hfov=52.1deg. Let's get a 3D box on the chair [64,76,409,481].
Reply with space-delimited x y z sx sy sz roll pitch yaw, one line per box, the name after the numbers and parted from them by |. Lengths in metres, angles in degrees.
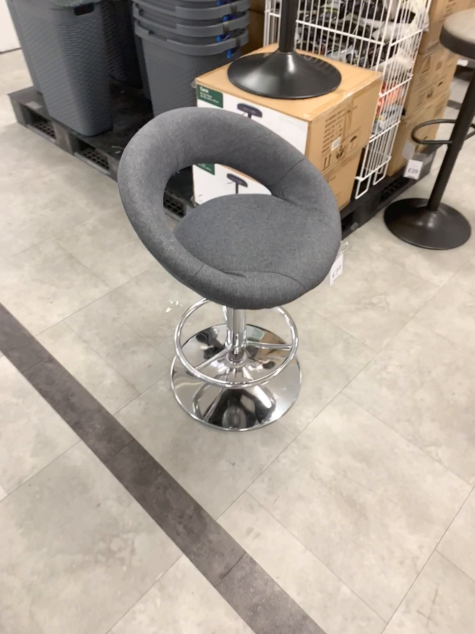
0.007 -0.090 1.299 0.487 0.788 0.549 31 53 25 | chair
